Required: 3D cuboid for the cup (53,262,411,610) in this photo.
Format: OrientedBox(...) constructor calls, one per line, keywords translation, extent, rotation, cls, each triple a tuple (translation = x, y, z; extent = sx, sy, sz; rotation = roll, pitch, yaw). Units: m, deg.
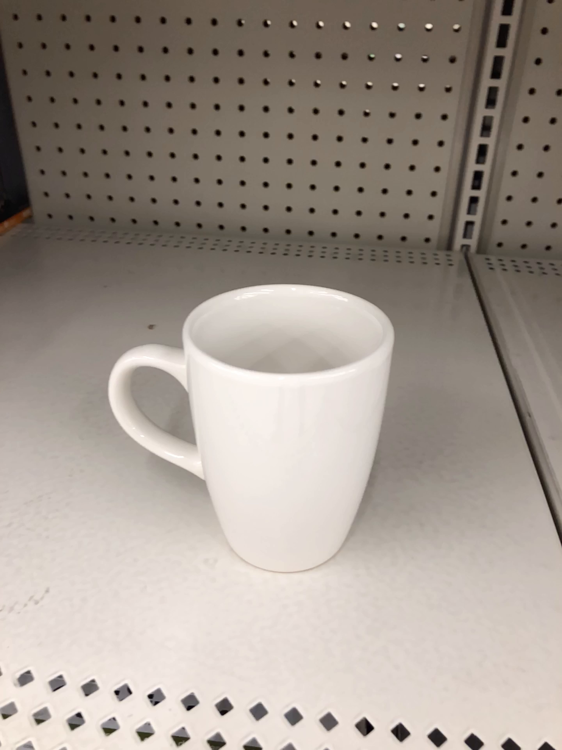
OrientedBox(translation=(-0.017, 0.021, 0.283), extent=(0.125, 0.105, 0.081), rotation=(11, 32, 17), cls="cup")
